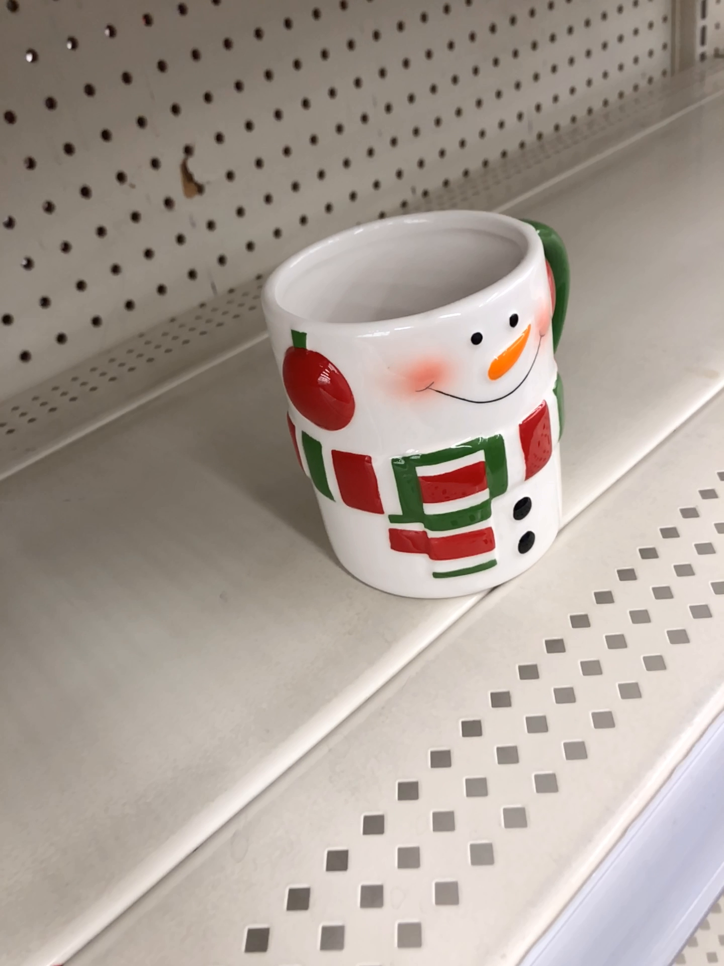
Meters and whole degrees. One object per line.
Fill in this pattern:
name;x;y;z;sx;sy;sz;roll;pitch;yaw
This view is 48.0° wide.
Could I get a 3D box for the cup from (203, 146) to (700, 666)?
cup;0.039;-0.036;0.279;0.090;0.110;0.130;22;49;39
